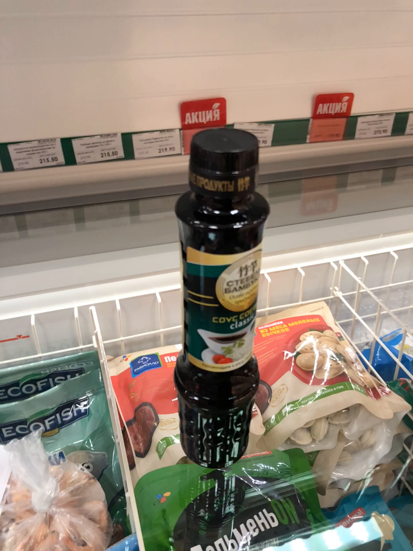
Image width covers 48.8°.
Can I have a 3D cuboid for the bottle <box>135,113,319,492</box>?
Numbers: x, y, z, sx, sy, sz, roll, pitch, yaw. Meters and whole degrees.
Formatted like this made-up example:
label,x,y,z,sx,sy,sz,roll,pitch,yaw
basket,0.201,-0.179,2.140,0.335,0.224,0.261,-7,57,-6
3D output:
label,x,y,z,sx,sy,sz,roll,pitch,yaw
bottle,0.006,0.024,0.248,0.058,0.199,0.054,1,33,-1
